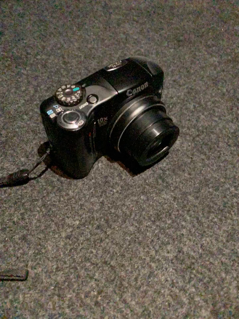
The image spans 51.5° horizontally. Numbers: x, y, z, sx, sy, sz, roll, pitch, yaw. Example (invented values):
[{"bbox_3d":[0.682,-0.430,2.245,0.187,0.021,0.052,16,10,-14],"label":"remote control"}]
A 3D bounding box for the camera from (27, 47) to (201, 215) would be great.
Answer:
[{"bbox_3d":[-0.003,-0.026,0.214,0.108,0.079,0.070,-33,63,-23],"label":"camera"}]
